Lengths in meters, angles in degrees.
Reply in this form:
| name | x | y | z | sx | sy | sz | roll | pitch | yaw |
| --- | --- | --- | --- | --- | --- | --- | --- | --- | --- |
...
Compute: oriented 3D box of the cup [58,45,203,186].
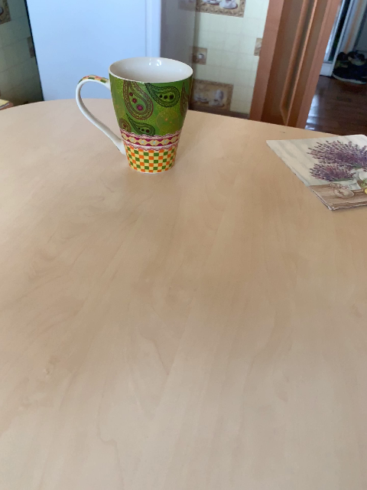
| name | x | y | z | sx | sy | sz | roll | pitch | yaw |
| --- | --- | --- | --- | --- | --- | --- | --- | --- | --- |
| cup | -0.053 | -0.153 | 0.440 | 0.130 | 0.109 | 0.111 | 8 | 41 | 4 |
